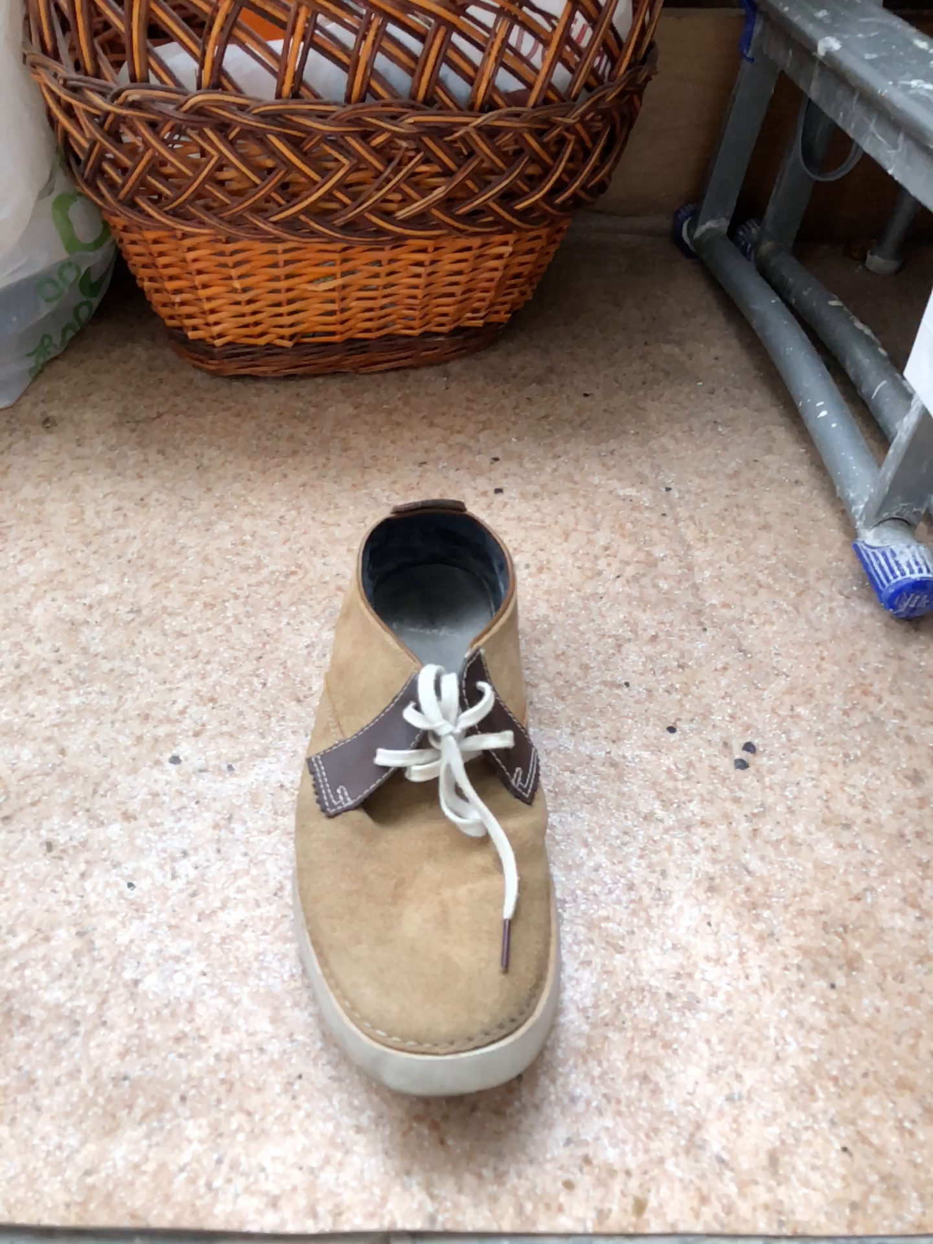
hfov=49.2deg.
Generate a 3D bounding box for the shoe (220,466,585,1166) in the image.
[{"bbox_3d":[-0.023,0.058,0.447,0.110,0.089,0.302,-1,44,-1],"label":"shoe"}]
